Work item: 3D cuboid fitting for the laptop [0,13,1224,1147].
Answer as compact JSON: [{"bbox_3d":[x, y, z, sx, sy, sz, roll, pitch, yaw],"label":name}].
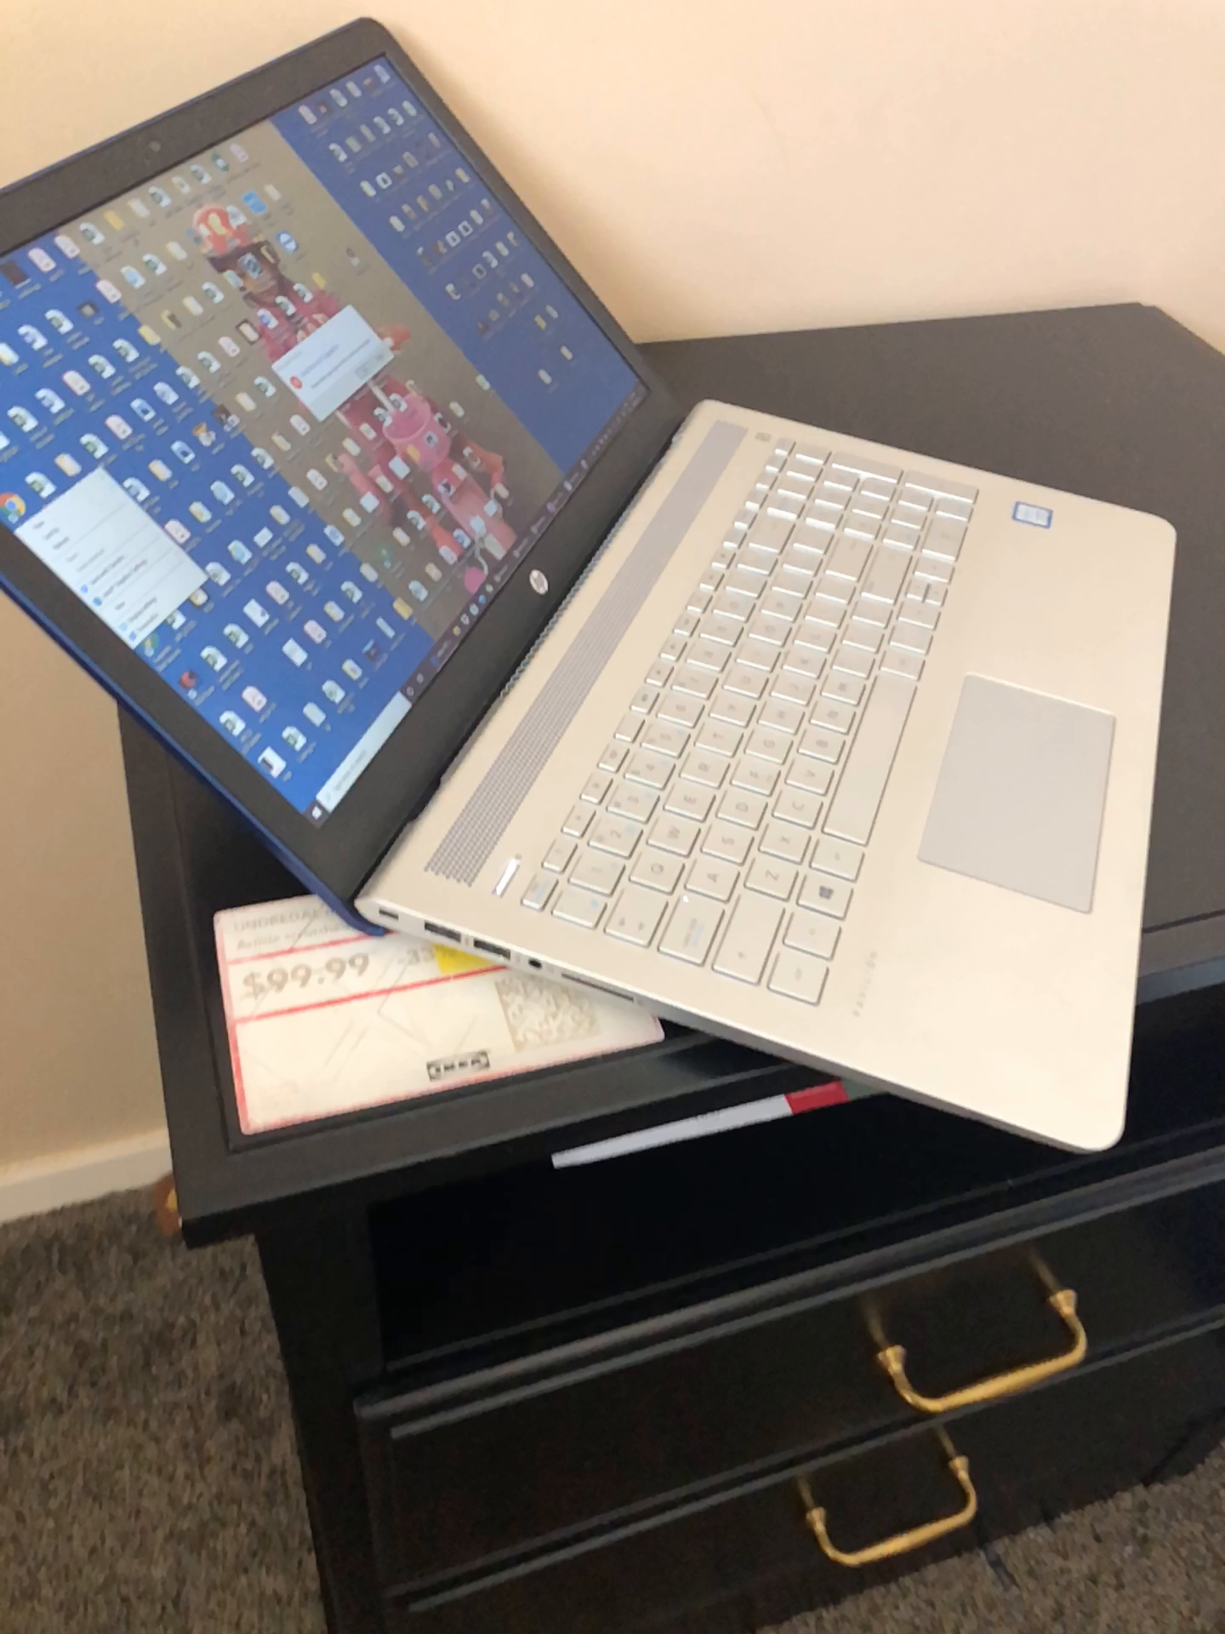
[{"bbox_3d":[0.022,-0.136,0.498,0.400,0.141,0.367,18,45,10],"label":"laptop"}]
